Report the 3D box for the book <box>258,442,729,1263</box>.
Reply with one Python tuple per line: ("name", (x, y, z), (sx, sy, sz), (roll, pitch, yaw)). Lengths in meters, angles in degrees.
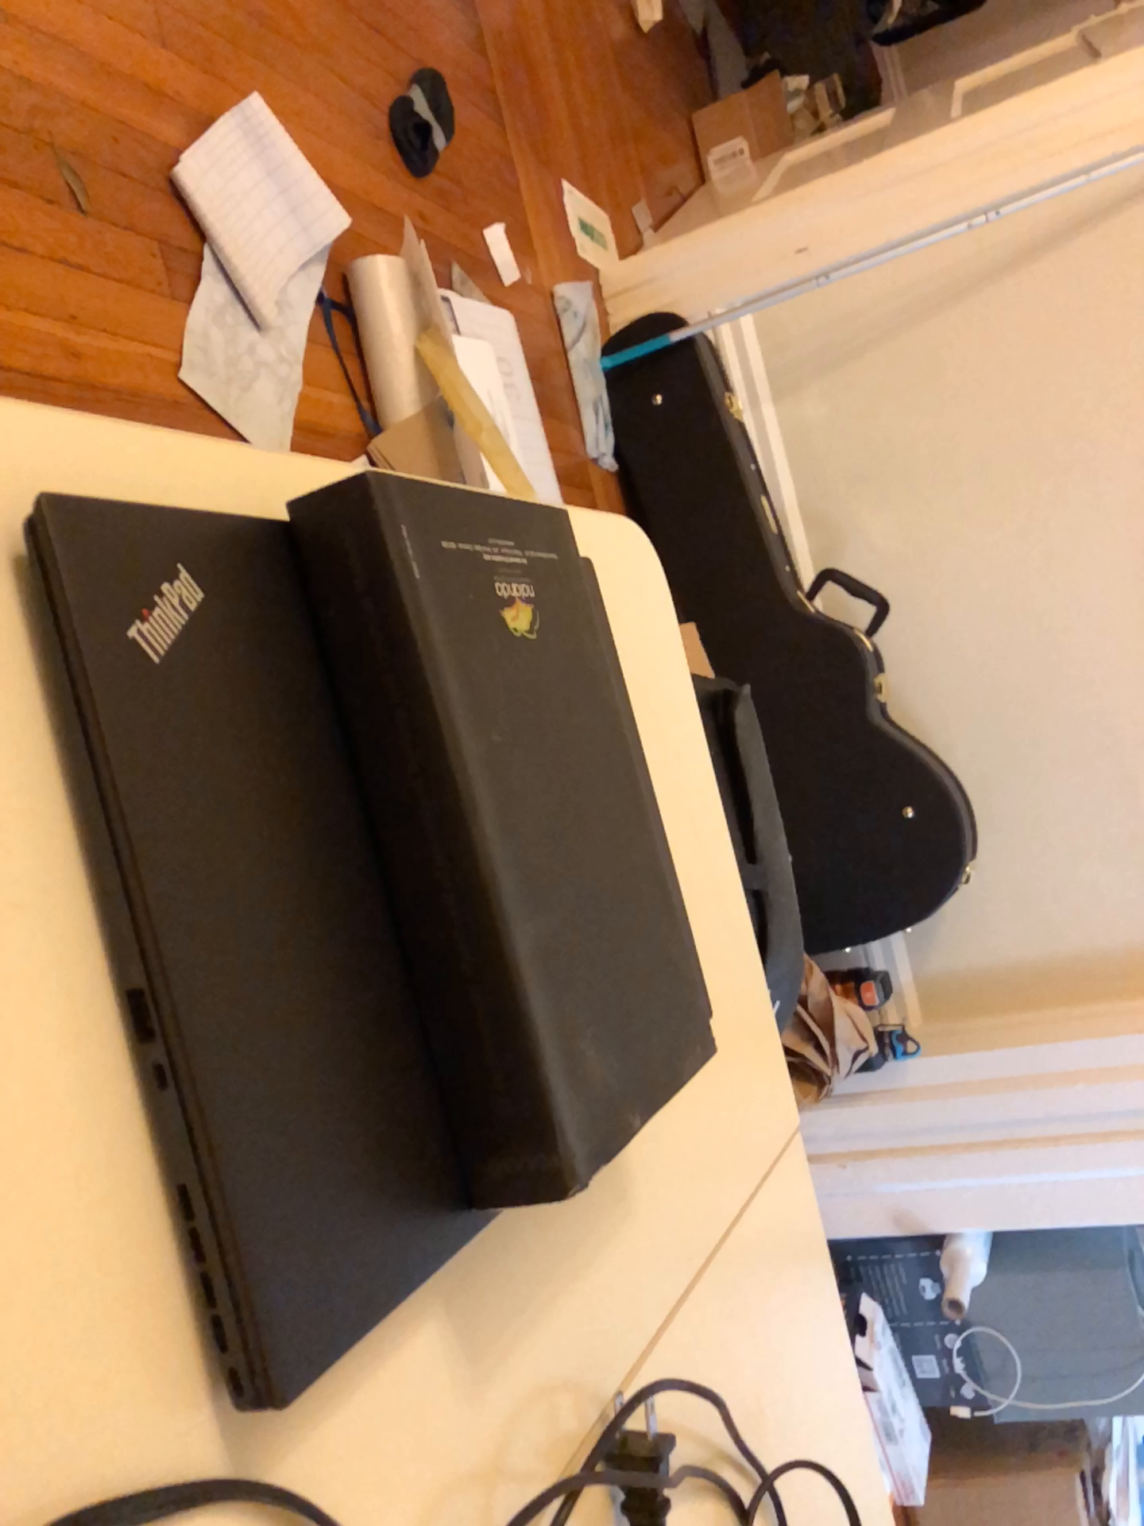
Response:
("book", (-0.015, 0.020, 0.422), (0.151, 0.040, 0.230), (-14, 91, -65))
